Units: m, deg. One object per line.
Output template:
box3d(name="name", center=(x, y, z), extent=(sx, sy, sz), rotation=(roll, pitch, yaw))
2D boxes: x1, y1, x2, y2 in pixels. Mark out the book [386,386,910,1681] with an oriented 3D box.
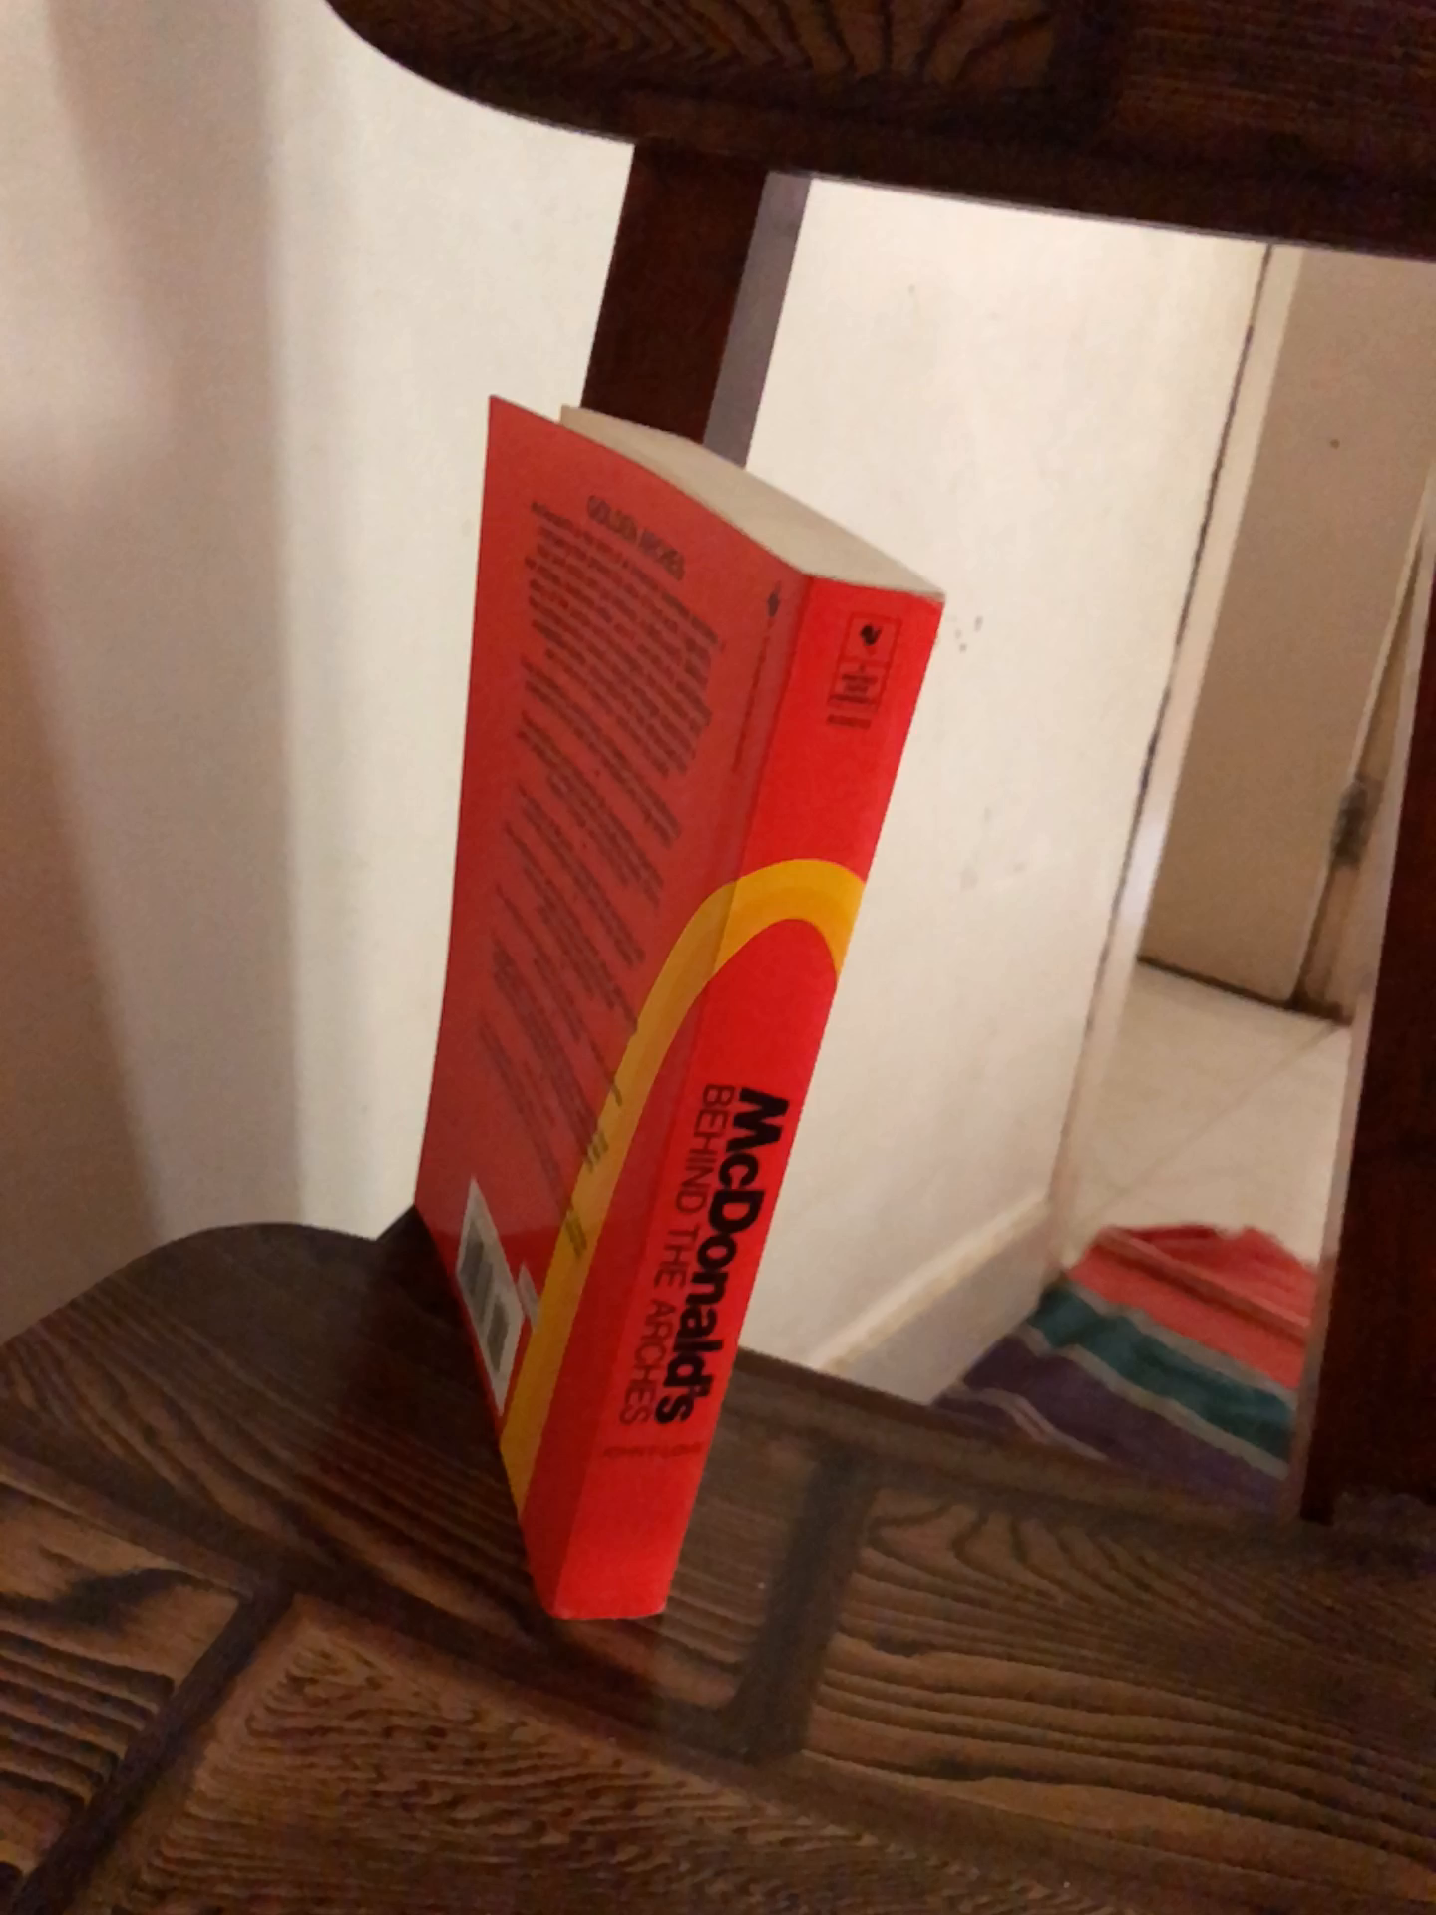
box3d(name="book", center=(-0.036, 0.002, 0.377), extent=(0.040, 0.239, 0.191), rotation=(3, 22, -19))
